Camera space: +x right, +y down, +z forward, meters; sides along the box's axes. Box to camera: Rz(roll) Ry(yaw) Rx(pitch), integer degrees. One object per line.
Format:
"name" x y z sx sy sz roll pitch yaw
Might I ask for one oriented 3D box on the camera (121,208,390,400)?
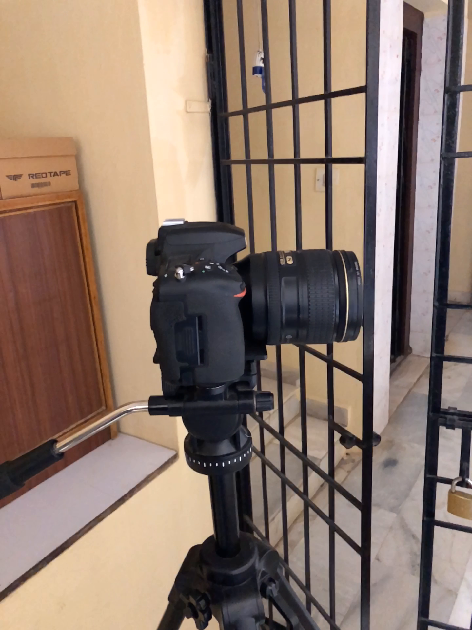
"camera" 0.015 -0.021 0.427 0.171 0.105 0.171 -3 17 1
